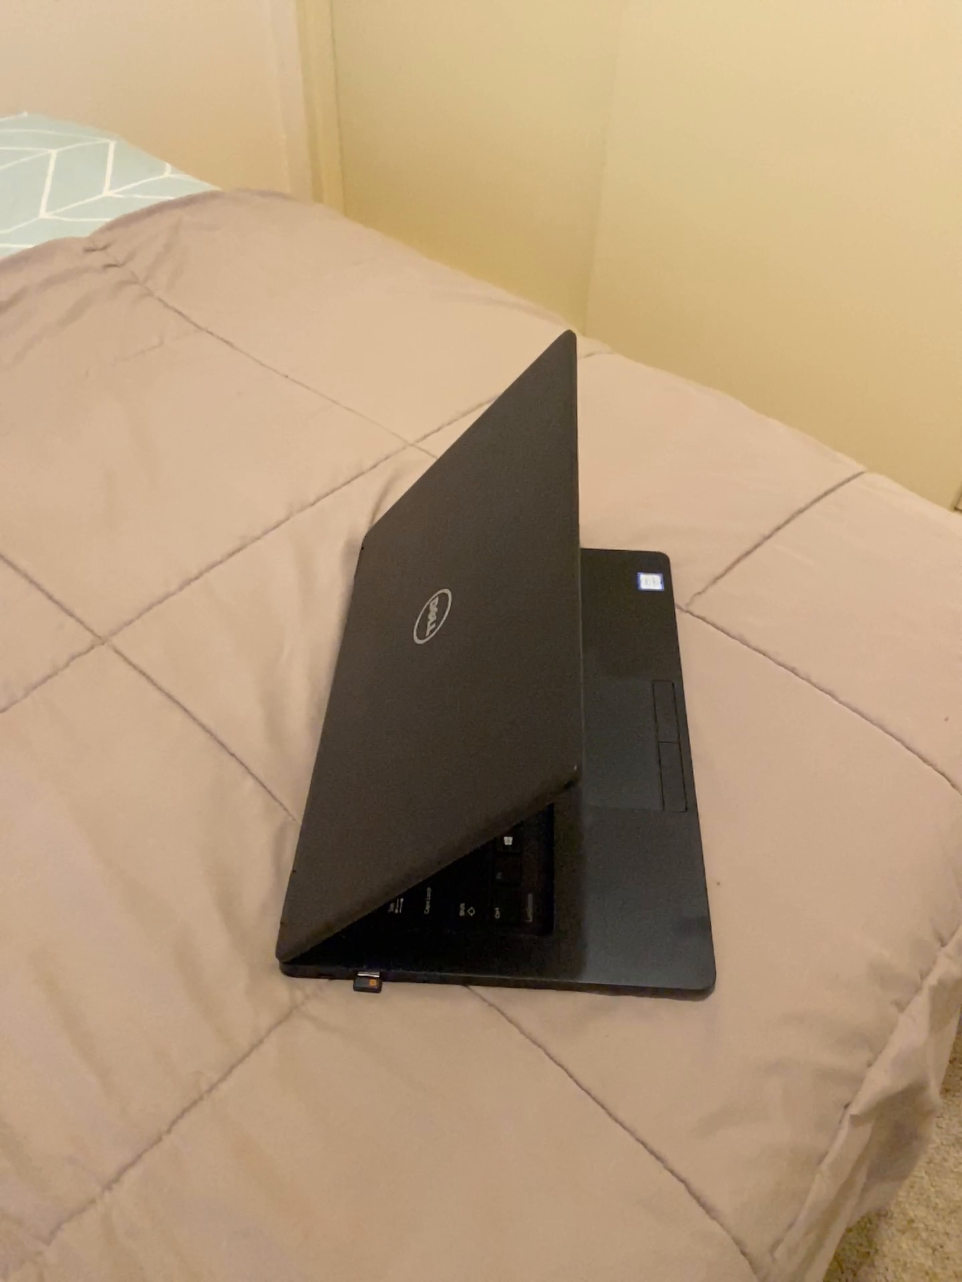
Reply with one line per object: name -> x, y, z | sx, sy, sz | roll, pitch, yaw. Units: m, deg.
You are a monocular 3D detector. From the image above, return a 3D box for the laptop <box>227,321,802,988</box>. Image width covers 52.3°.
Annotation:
laptop -> 0.020, -0.010, 0.564 | 0.226, 0.183, 0.336 | 3, 47, 2
